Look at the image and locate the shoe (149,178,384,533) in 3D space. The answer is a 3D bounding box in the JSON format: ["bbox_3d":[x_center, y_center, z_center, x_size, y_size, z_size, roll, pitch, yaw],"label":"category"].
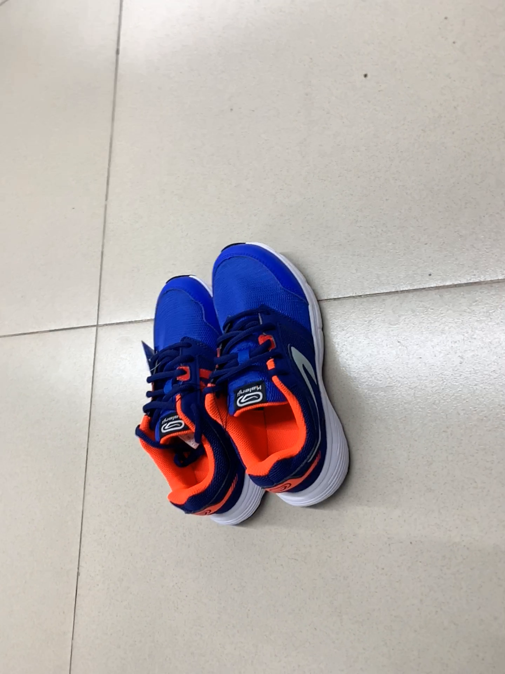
[{"bbox_3d":[0.009,0.016,0.434,0.090,0.120,0.250,-24,69,27],"label":"shoe"}]

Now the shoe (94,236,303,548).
[{"bbox_3d":[-0.054,0.049,0.492,0.090,0.120,0.250,-26,68,26],"label":"shoe"}]
